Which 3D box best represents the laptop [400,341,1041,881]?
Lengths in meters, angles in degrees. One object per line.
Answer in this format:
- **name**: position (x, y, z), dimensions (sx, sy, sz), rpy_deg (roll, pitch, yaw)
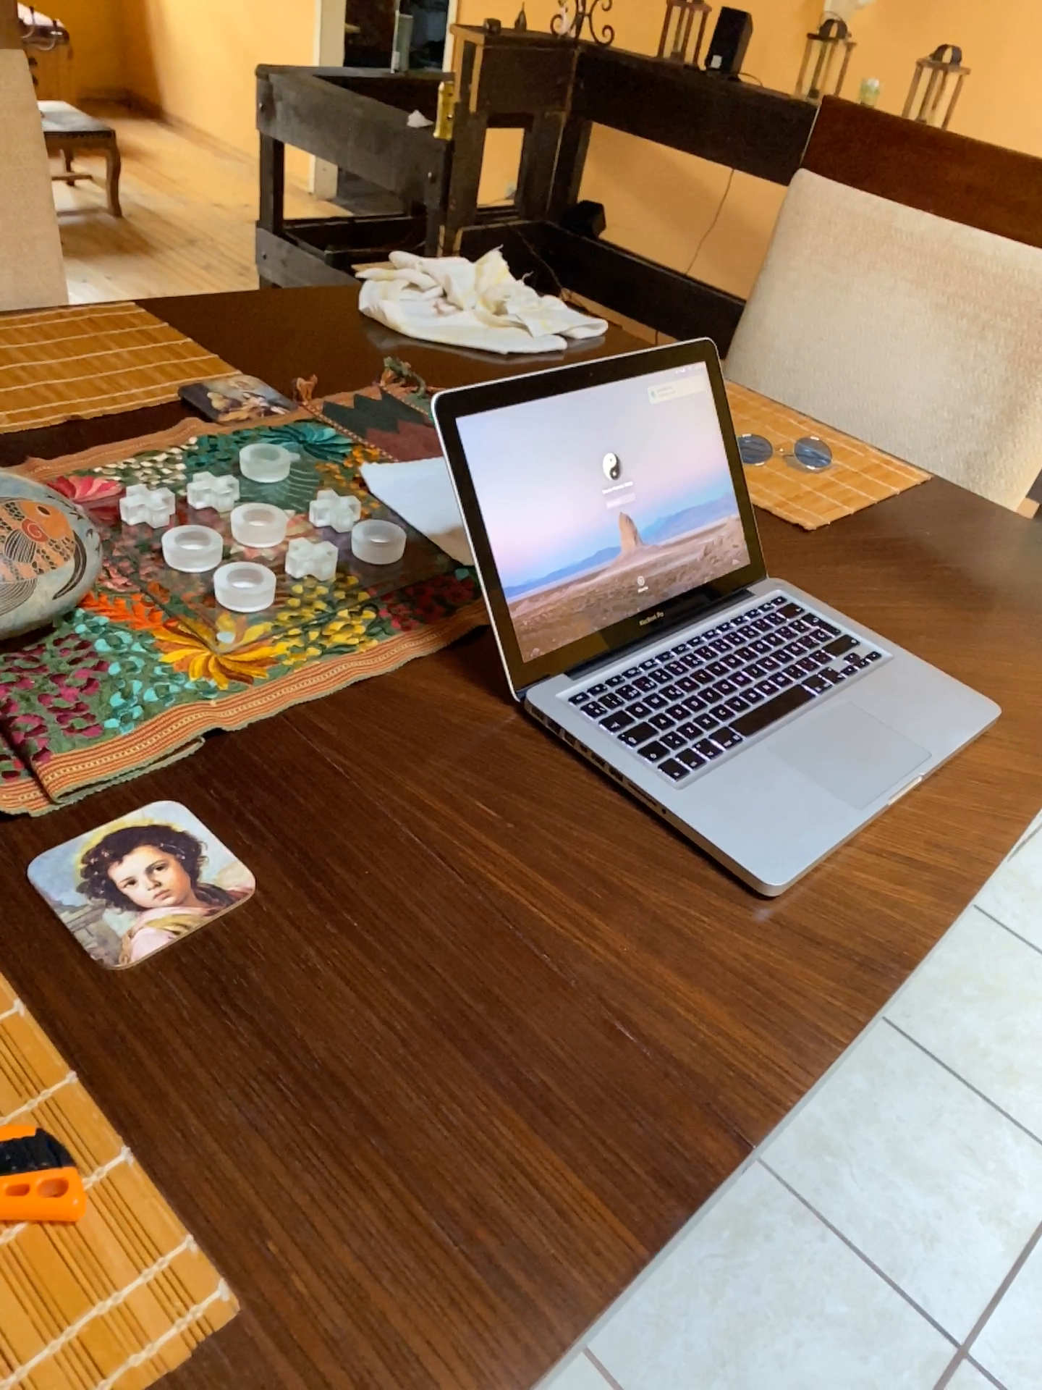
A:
- **laptop**: position (0.153, -0.100, 0.809), dimensions (0.326, 0.170, 0.358), rpy_deg (-25, 50, -38)
